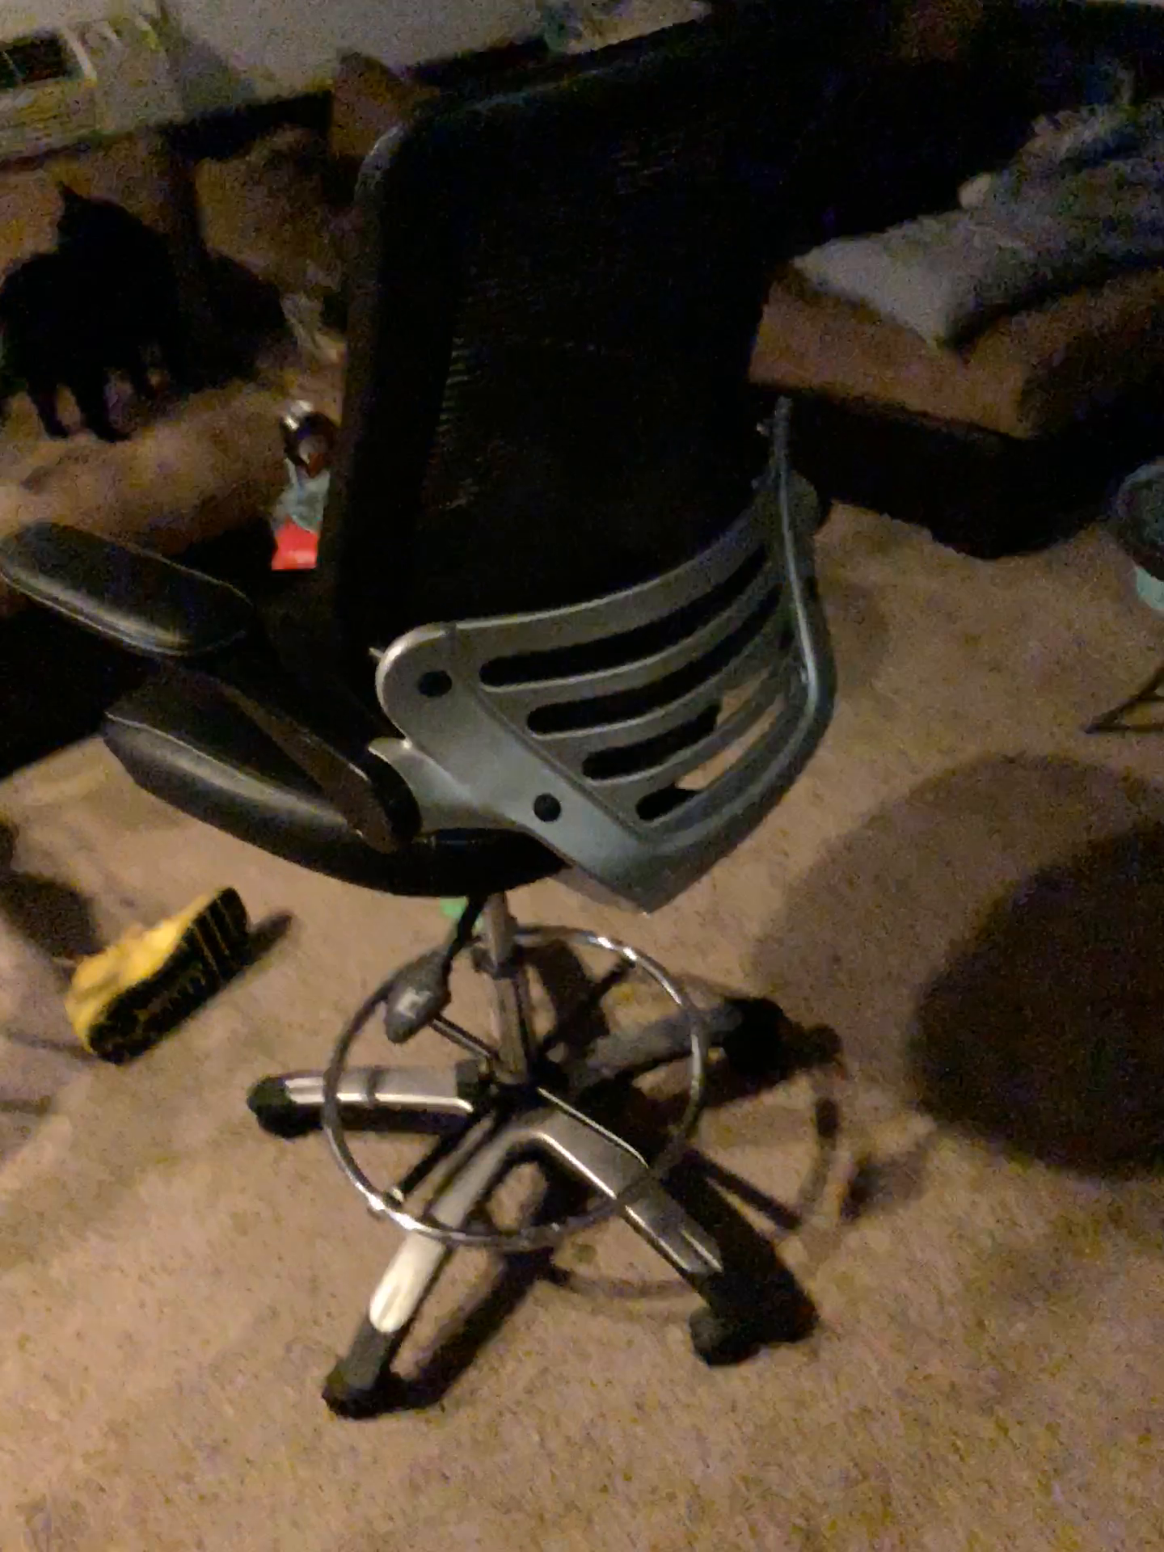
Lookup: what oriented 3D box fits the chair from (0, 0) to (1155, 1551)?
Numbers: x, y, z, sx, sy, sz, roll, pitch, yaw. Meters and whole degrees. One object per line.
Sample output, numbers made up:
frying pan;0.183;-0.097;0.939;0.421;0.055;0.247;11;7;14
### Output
chair;-0.104;-0.032;1.131;0.700;1.120;0.780;23;46;33
